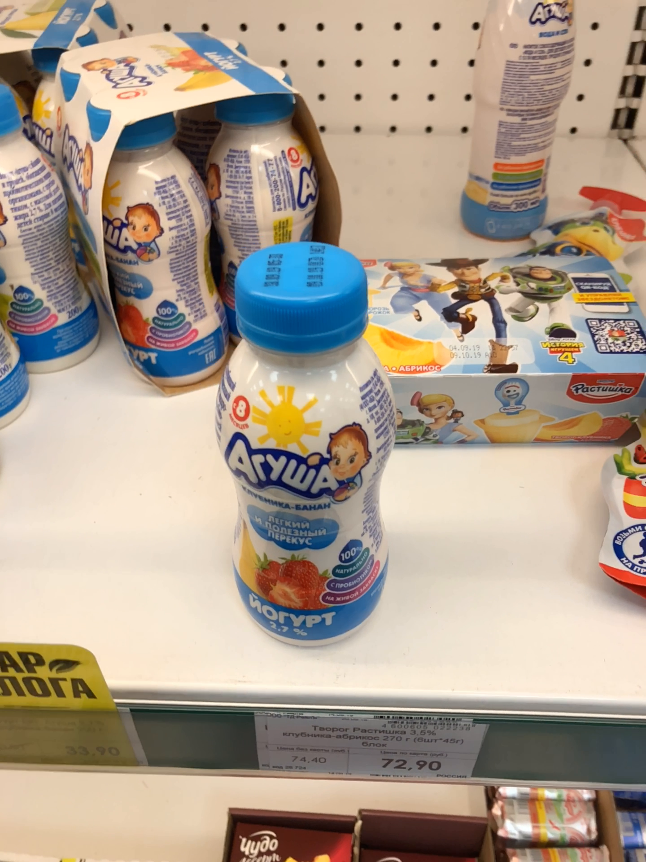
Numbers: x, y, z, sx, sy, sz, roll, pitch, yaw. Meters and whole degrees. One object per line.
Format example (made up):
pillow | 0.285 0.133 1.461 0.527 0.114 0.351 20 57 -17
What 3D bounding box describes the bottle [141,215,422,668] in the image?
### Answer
bottle | -0.006 0.008 0.227 0.060 0.129 0.060 -1 41 1
